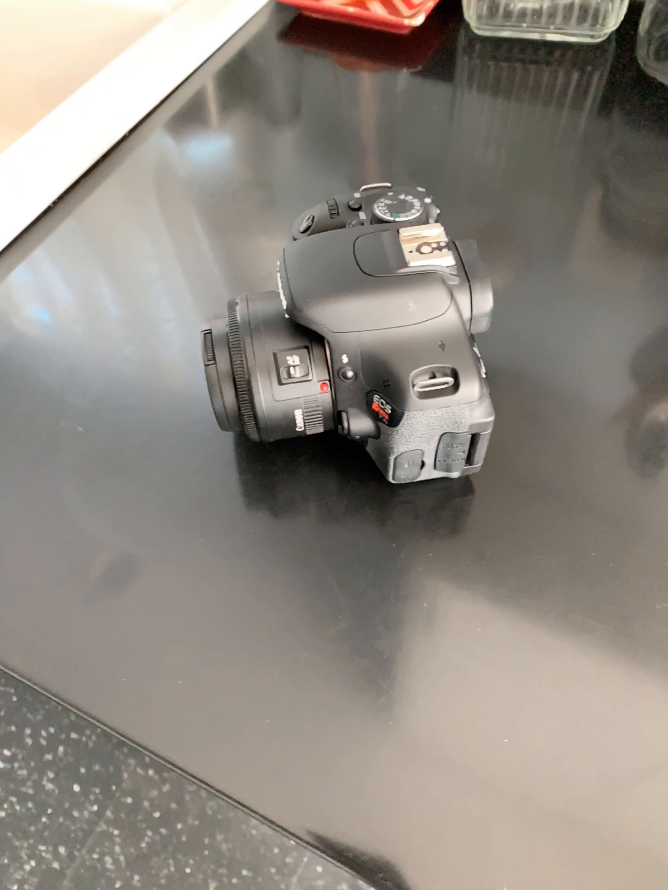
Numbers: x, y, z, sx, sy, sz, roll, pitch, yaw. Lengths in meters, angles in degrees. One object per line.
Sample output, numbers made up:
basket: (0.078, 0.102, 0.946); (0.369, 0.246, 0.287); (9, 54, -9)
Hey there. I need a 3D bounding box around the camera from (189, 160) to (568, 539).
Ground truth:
camera: (0.012, -0.048, 0.350); (0.145, 0.100, 0.140); (-9, 57, -3)
